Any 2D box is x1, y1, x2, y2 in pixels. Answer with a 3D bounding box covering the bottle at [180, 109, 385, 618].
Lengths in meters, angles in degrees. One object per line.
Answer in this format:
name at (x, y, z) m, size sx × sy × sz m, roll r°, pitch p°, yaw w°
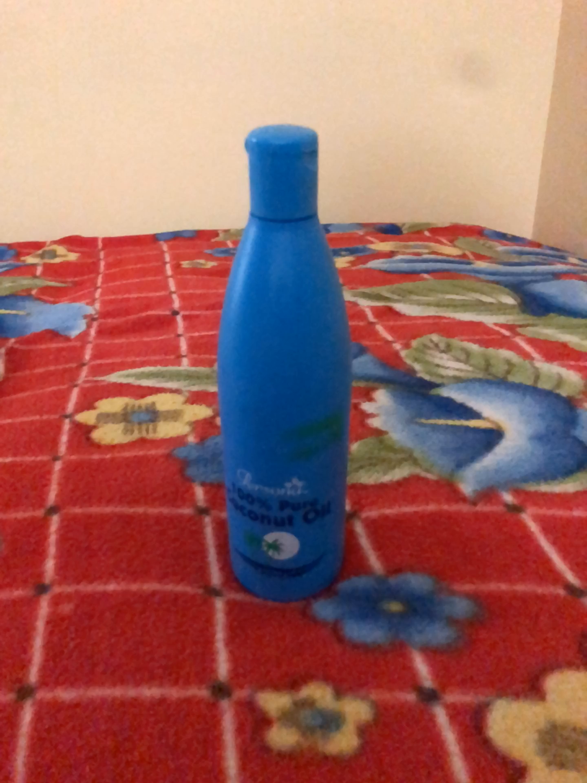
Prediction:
bottle at (0.001, -0.005, 0.305) m, size 0.070 × 0.229 × 0.070 m, roll 0°, pitch 29°, yaw 0°
